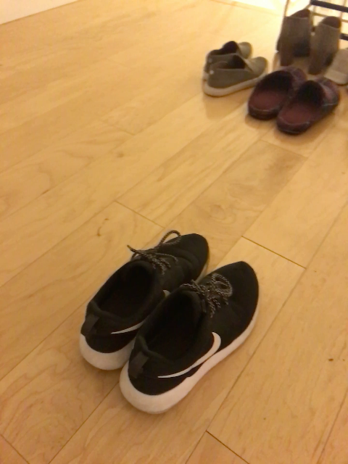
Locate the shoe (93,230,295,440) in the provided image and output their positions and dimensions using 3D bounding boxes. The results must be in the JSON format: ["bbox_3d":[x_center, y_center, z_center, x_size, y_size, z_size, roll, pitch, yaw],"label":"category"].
[{"bbox_3d":[0.037,0.121,0.523,0.120,0.070,0.271,34,53,27],"label":"shoe"}]

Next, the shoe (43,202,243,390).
[{"bbox_3d":[-0.034,0.075,0.562,0.130,0.070,0.271,34,53,27],"label":"shoe"}]
